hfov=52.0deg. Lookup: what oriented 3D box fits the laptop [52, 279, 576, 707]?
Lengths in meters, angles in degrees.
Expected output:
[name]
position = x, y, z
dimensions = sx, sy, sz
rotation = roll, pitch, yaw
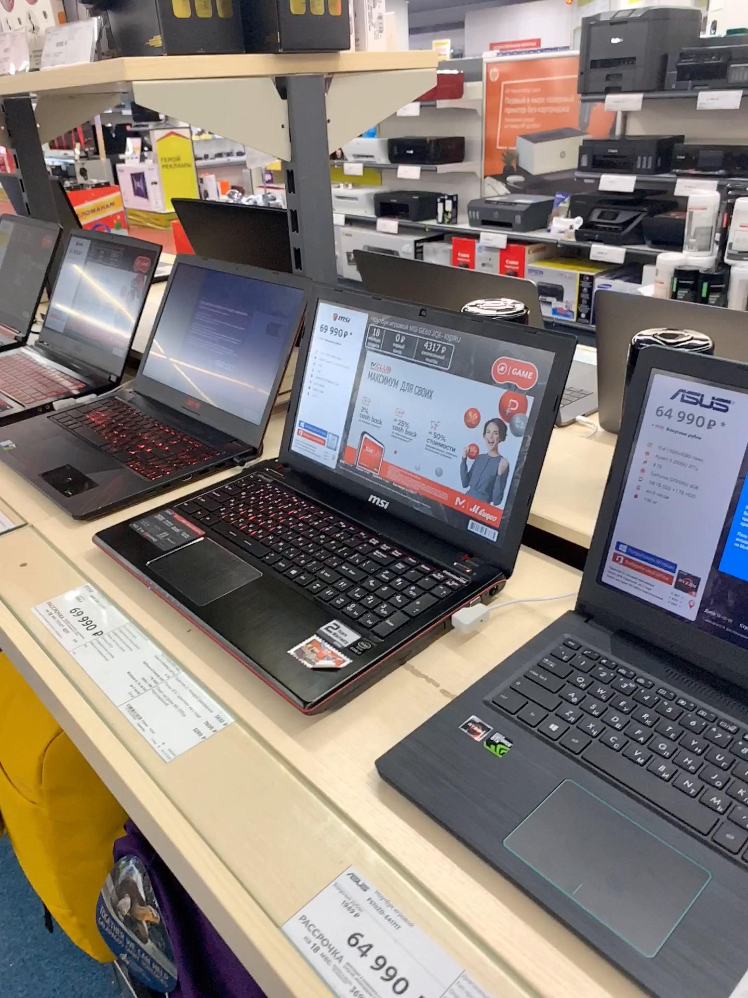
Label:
[laptop]
position = -0.058, -0.051, 0.723
dimensions = 0.312, 0.197, 0.357
rotation = -26, 36, -35
